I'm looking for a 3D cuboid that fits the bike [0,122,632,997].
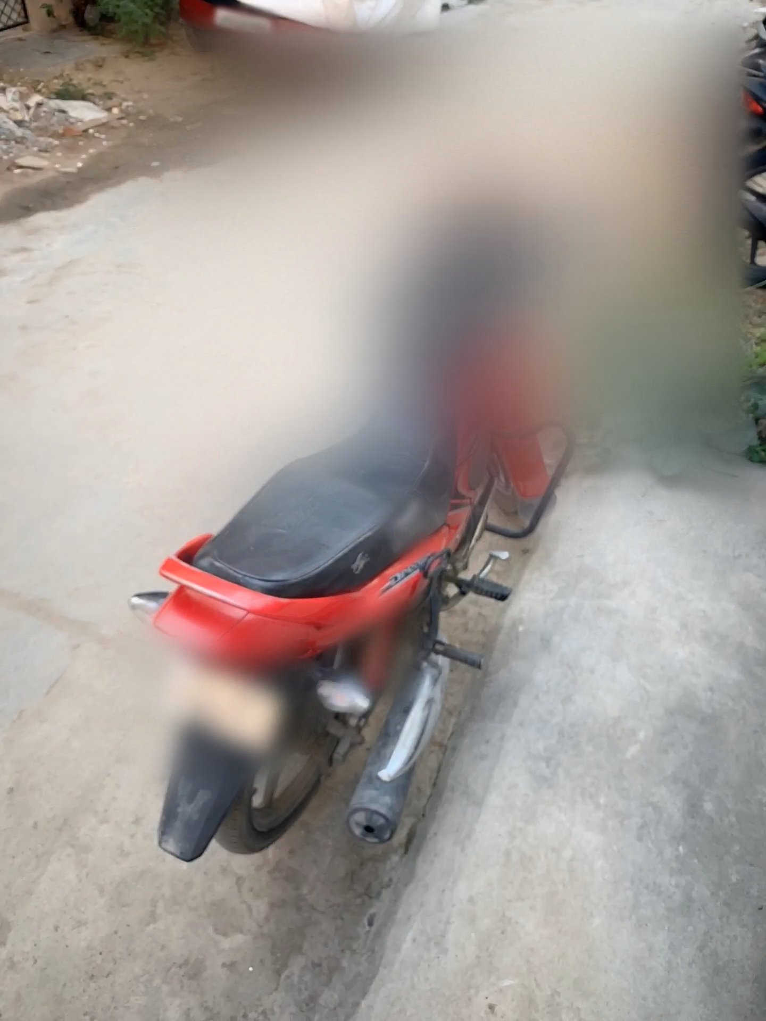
[{"bbox_3d":[0.025,-0.091,1.898,0.758,1.092,1.715,14,41,12],"label":"bike"}]
